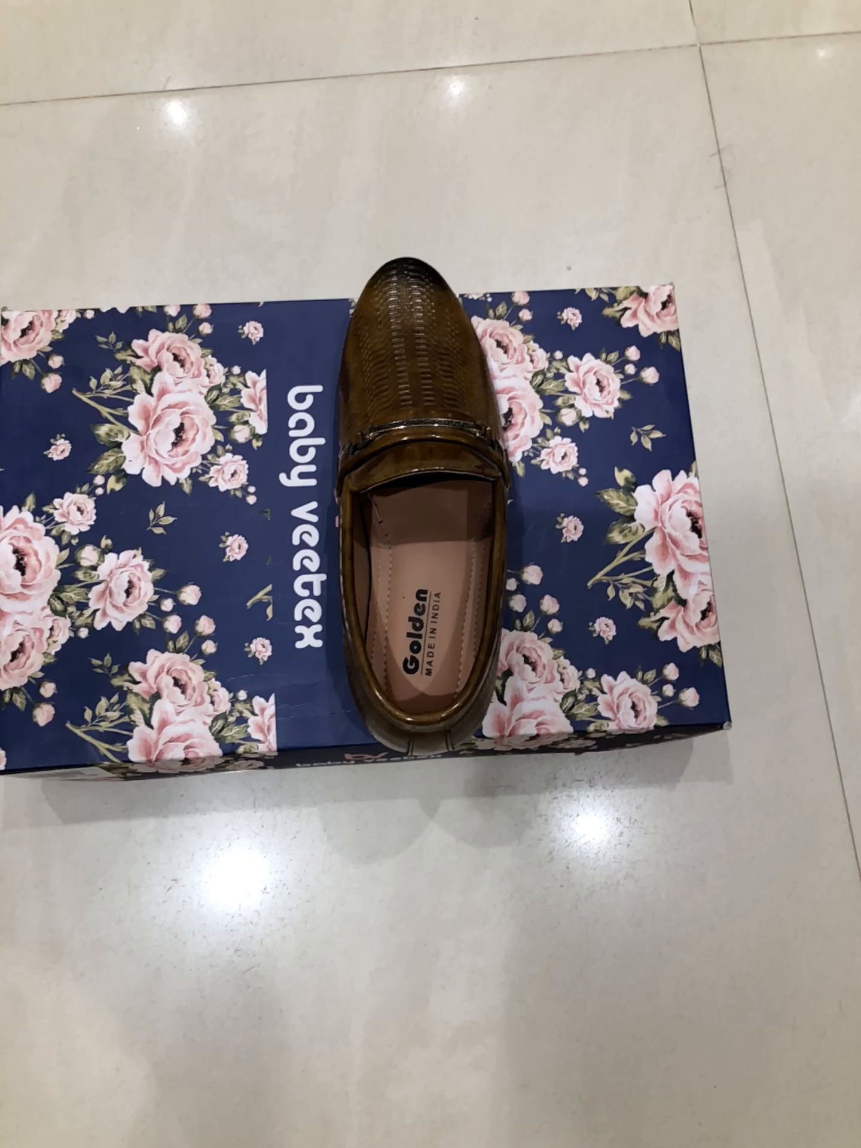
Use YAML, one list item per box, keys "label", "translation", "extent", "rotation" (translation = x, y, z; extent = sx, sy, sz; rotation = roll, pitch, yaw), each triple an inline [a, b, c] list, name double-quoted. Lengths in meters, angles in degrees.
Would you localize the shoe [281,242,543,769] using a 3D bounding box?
- label: "shoe"
  translation: [-0.011, -0.026, 0.416]
  extent: [0.090, 0.080, 0.210]
  rotation: [-4, 80, -3]
